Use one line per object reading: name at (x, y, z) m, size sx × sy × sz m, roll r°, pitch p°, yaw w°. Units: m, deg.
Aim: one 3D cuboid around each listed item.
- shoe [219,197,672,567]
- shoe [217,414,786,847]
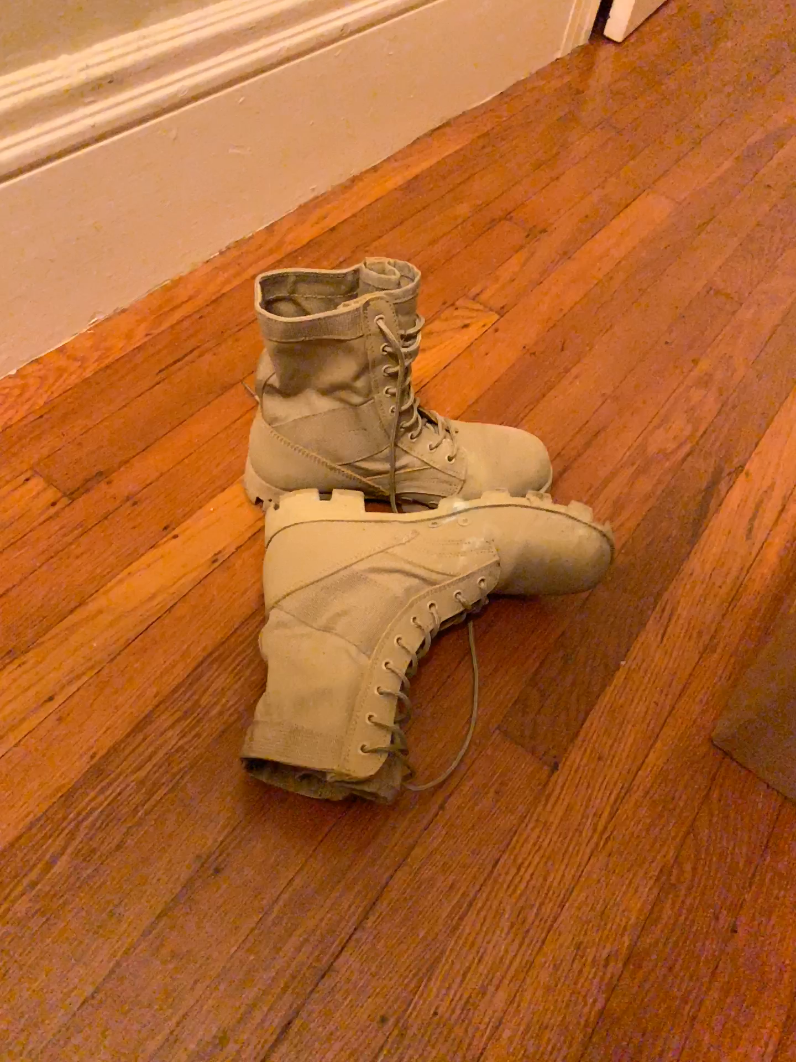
shoe at (0.018, -0.112, 0.665) m, size 0.300 × 0.199 × 0.191 m, roll 3°, pitch 53°, yaw -8°
shoe at (0.051, 0.061, 0.564) m, size 0.310 × 0.119 × 0.251 m, roll 6°, pitch 45°, yaw -6°
